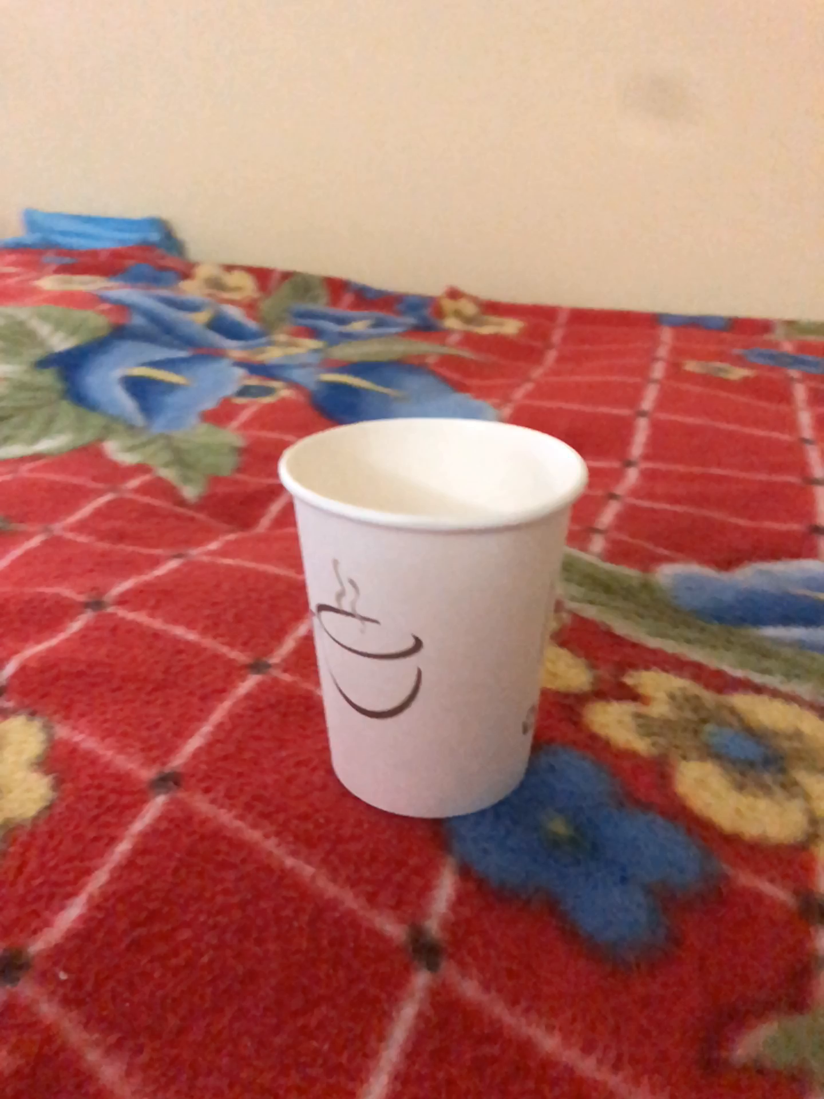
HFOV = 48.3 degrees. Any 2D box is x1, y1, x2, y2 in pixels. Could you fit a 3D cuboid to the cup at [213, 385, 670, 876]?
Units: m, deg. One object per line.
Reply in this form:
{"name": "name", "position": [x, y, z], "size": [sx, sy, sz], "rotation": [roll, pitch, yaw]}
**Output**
{"name": "cup", "position": [0.008, 0.014, 0.262], "size": [0.090, 0.090, 0.080], "rotation": [22, 34, 38]}
